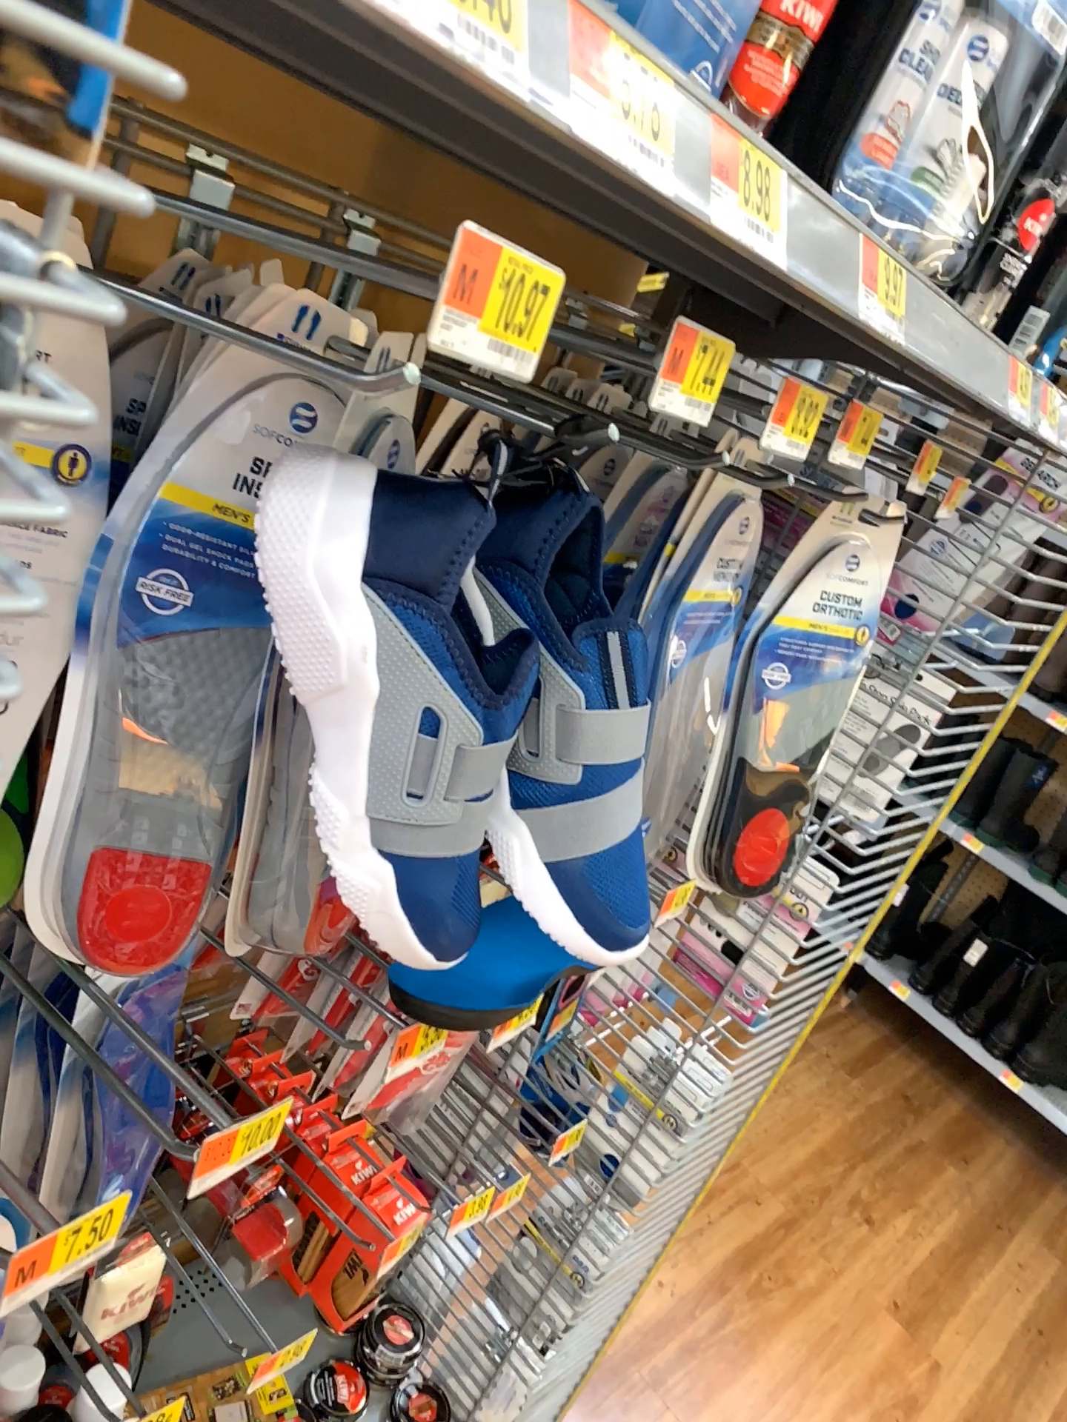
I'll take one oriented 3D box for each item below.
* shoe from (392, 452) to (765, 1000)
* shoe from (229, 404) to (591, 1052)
[{"bbox_3d":[0.026,0.006,0.523,0.098,0.232,0.101,-10,4,30],"label":"shoe"},{"bbox_3d":[-0.037,0.009,0.457,0.098,0.244,0.096,-5,23,5],"label":"shoe"}]
